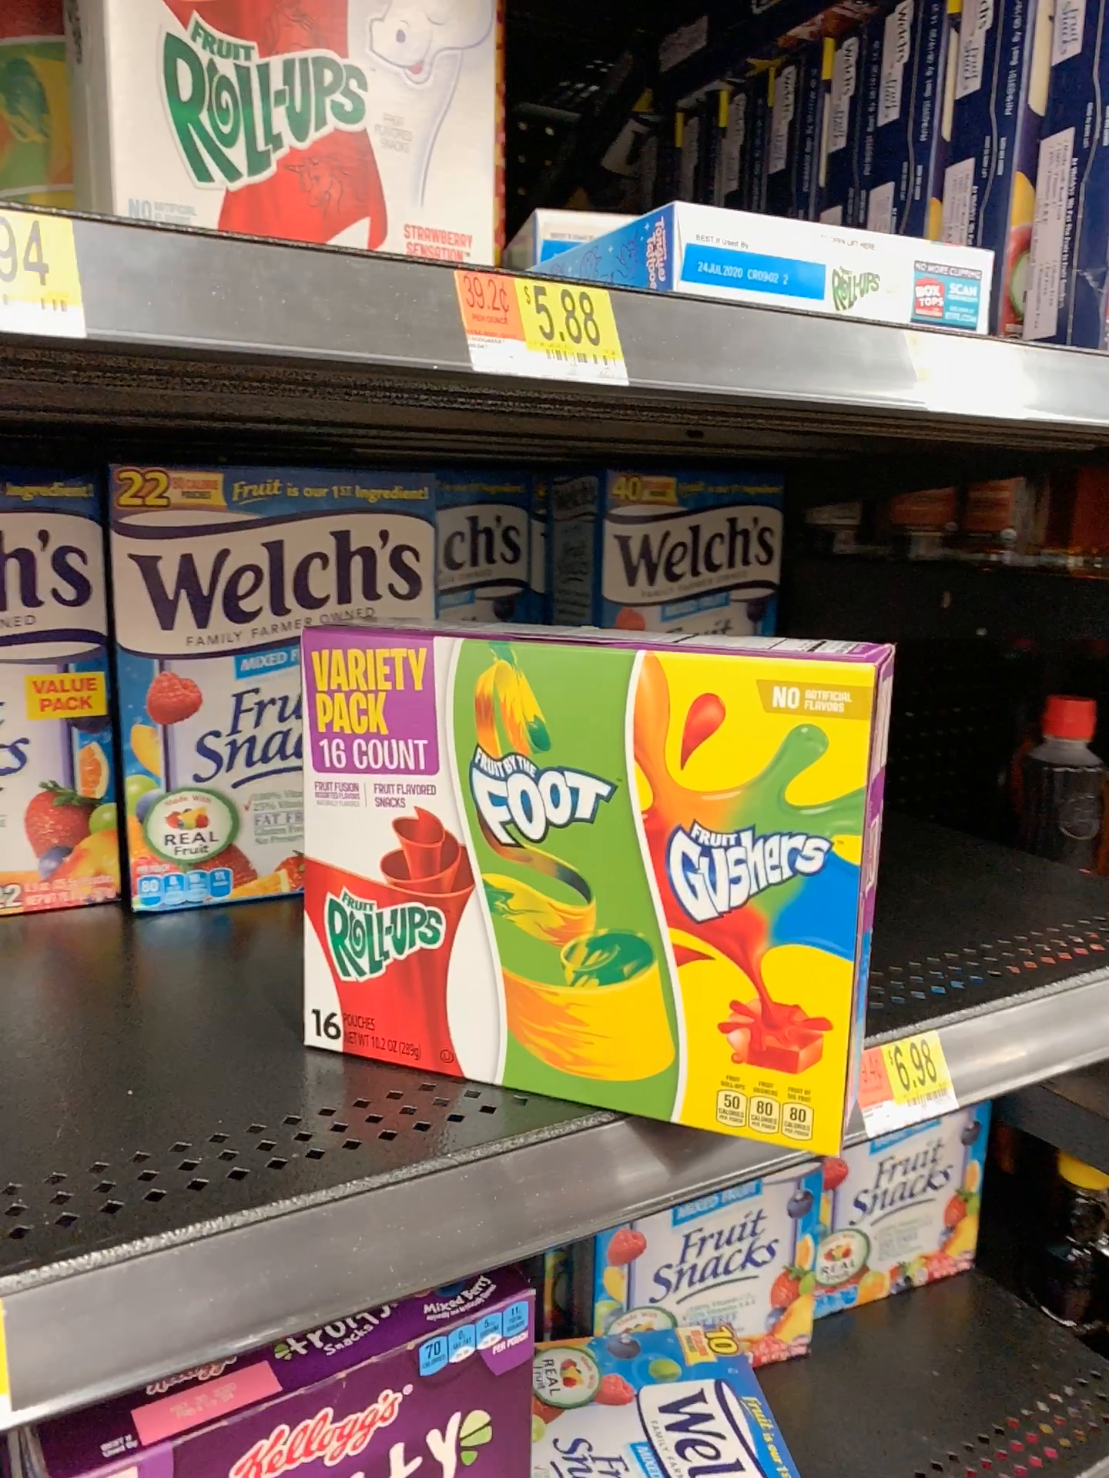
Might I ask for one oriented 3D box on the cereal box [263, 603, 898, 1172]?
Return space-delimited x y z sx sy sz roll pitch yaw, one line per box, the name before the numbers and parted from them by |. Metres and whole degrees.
cereal box | 0.004 0.043 0.425 0.220 0.170 0.060 6 12 20
